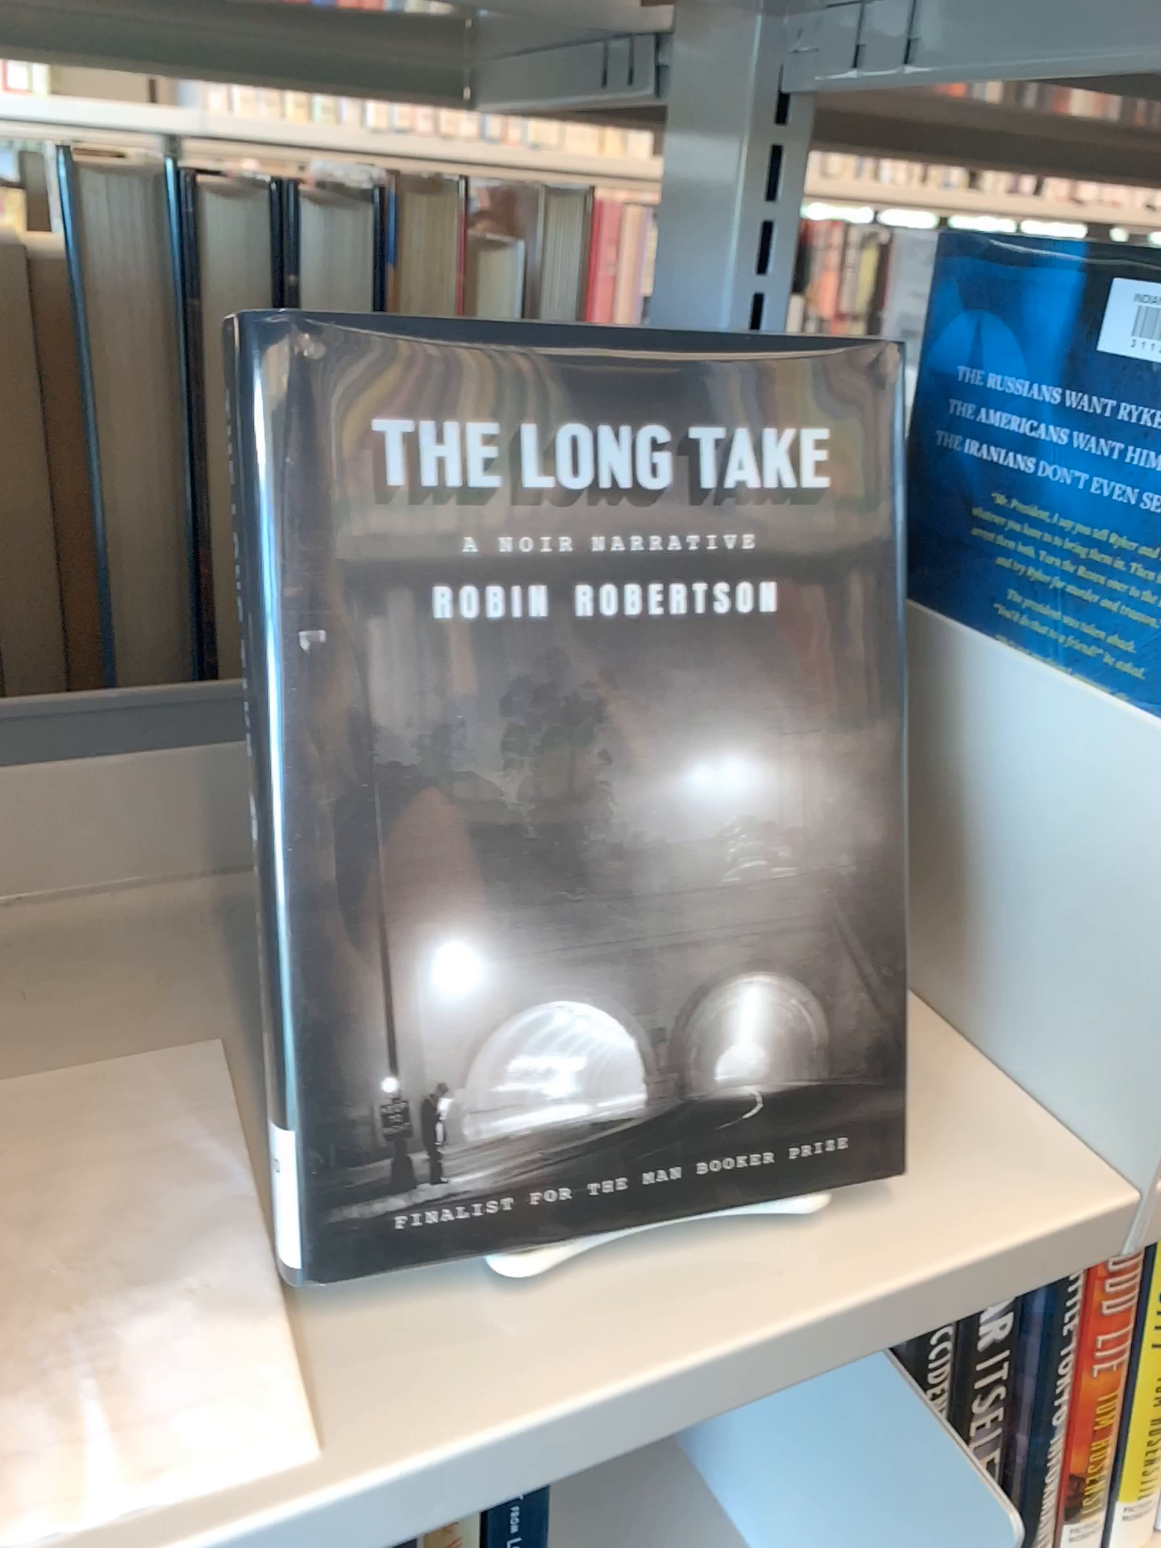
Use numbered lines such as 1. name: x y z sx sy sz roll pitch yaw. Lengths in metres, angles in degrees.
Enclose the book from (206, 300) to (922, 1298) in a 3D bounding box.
1. book: 0.001 0.002 0.290 0.160 0.206 0.040 -4 6 -18
